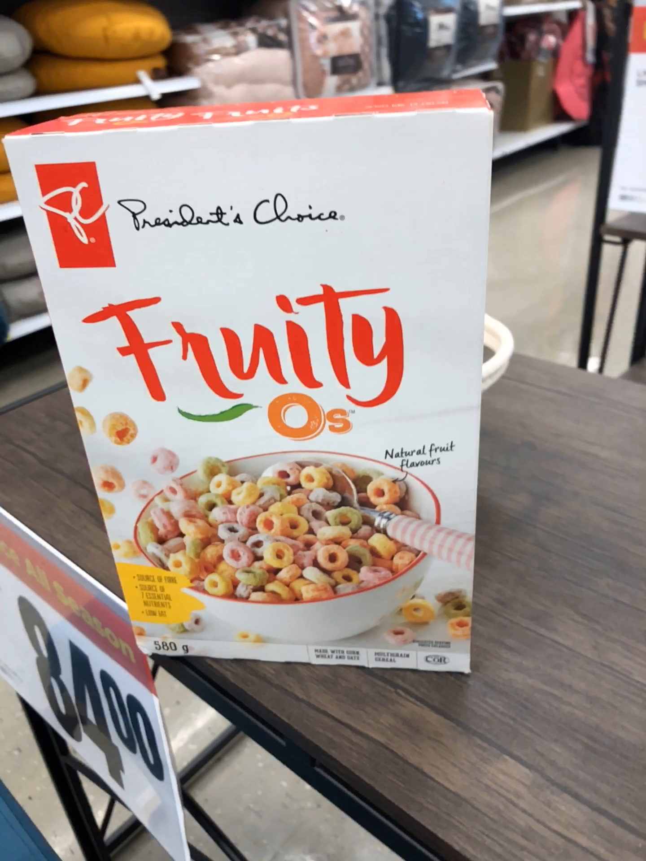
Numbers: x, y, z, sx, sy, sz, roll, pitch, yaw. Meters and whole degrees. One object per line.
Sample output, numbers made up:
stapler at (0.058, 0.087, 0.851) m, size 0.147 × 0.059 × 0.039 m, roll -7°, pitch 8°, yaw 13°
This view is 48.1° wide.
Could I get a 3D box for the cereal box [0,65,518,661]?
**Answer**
cereal box at (-0.027, -0.019, 0.366) m, size 0.220 × 0.279 × 0.080 m, roll 0°, pitch 30°, yaw 9°
